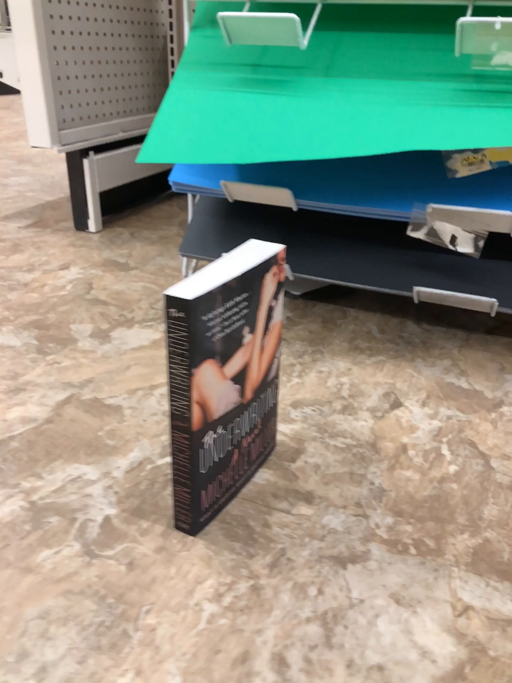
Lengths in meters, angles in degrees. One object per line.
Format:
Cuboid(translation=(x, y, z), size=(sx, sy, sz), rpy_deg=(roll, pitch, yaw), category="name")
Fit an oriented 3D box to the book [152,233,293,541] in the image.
Cuboid(translation=(-0.021, 0.032, 0.454), size=(0.035, 0.203, 0.141), rpy_deg=(15, 30, 24), category="book")
